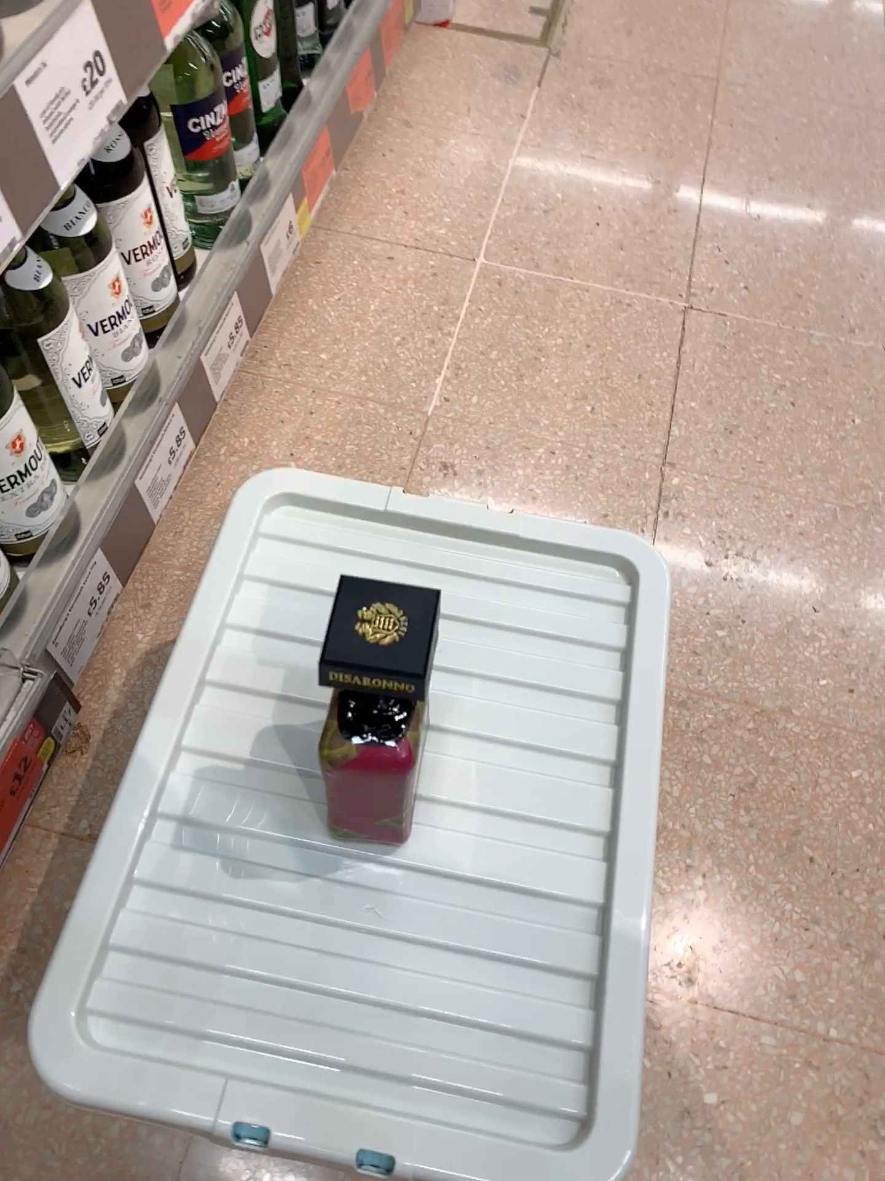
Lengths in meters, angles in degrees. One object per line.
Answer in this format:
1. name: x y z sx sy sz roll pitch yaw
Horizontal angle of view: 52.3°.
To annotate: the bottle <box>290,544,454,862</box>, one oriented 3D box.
1. bottle: -0.037 0.075 0.517 0.060 0.199 0.101 9 59 2
